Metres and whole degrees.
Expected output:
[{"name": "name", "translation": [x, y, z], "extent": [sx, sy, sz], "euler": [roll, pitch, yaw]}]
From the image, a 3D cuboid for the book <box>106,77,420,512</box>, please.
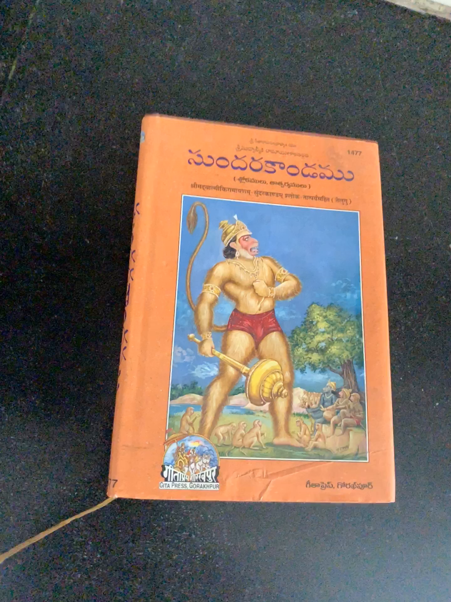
[{"name": "book", "translation": [0.032, -0.011, 0.348], "extent": [0.200, 0.040, 0.301], "euler": [5, 75, -8]}]
